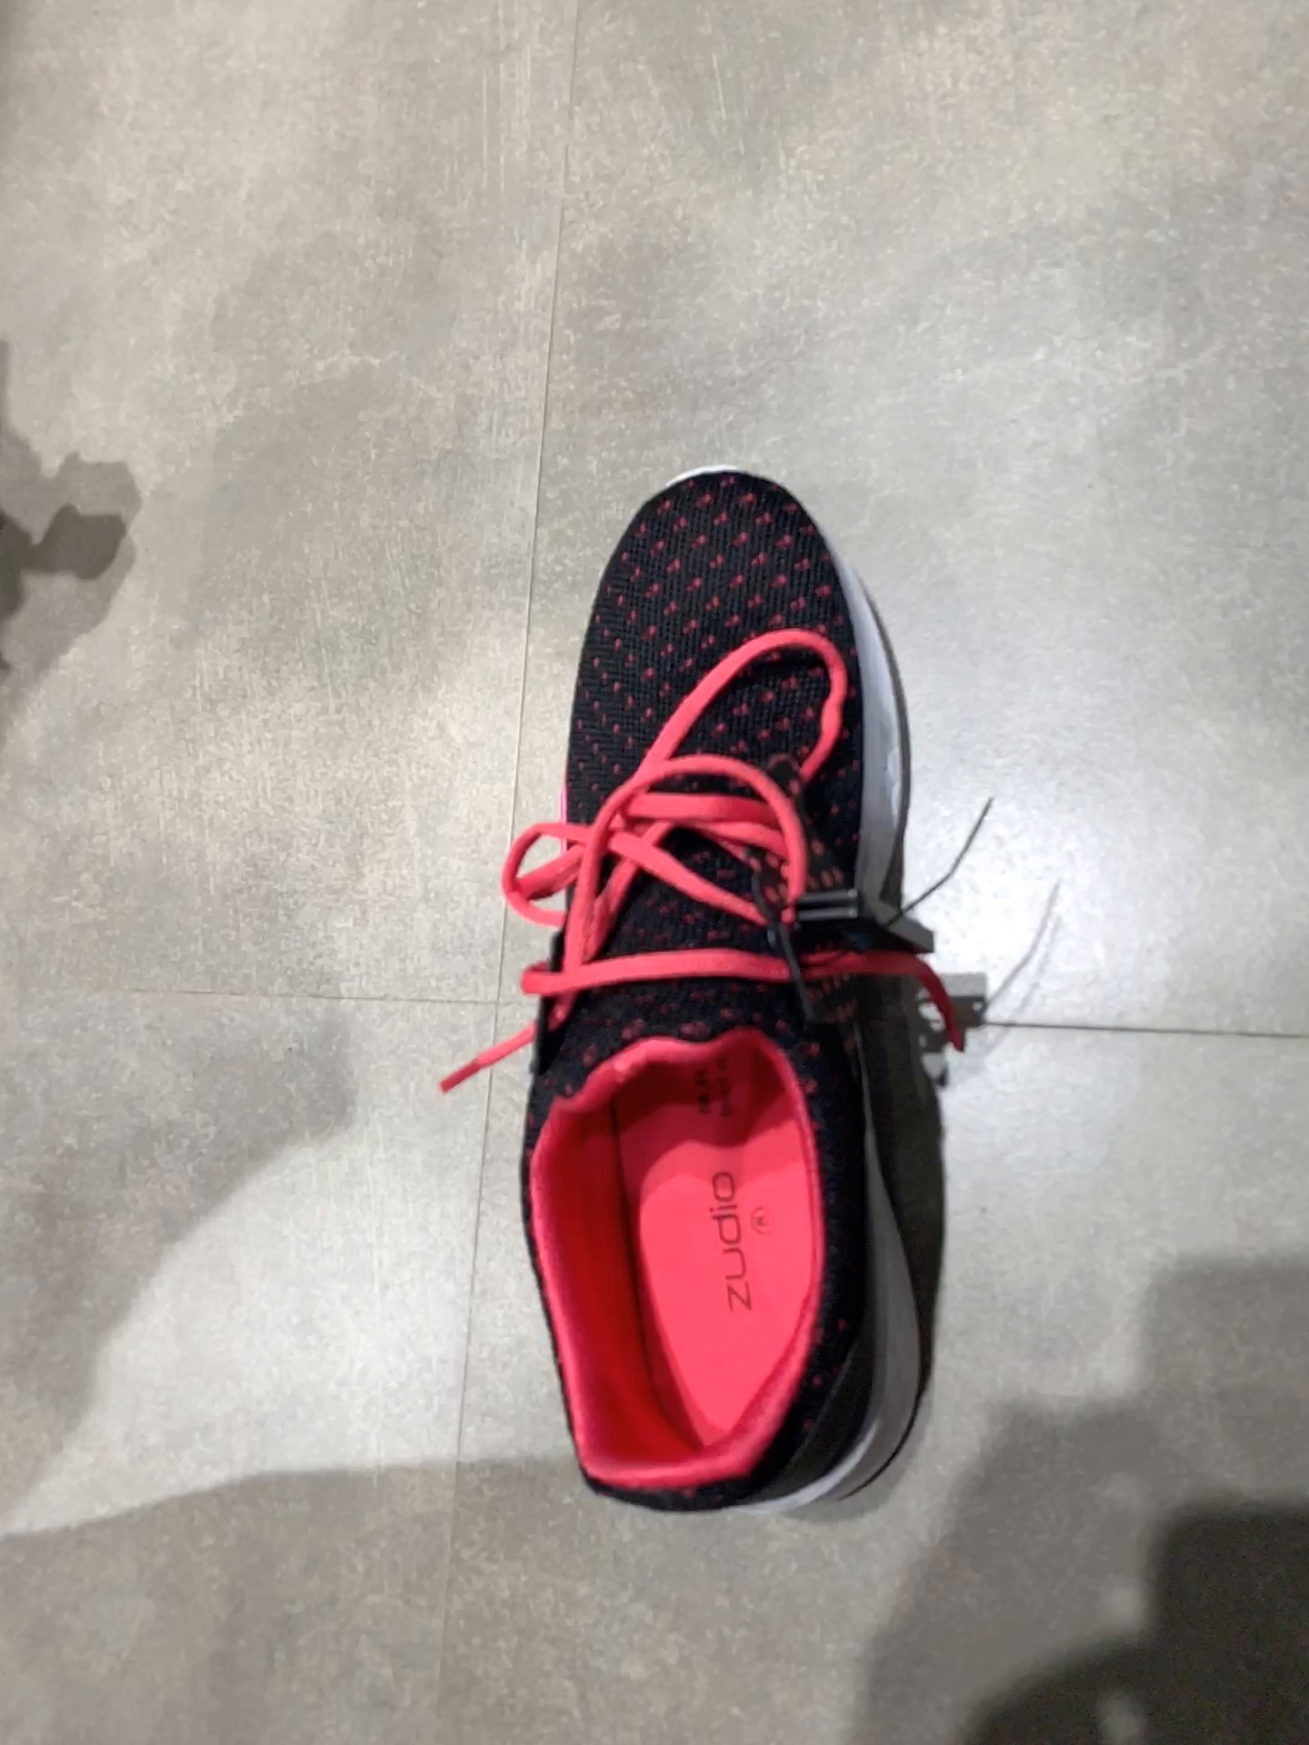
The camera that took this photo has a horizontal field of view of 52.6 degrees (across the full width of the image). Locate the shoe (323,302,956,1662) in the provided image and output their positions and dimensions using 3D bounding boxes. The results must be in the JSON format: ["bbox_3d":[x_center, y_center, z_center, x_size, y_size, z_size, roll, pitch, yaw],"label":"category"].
[{"bbox_3d":[0.000,0.023,0.324,0.110,0.110,0.263,-6,78,20],"label":"shoe"}]
